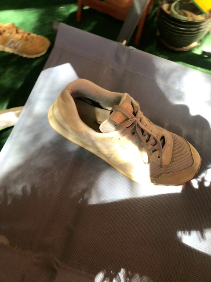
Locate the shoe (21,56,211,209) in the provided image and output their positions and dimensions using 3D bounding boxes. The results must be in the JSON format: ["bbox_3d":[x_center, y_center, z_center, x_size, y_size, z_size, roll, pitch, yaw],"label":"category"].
[{"bbox_3d":[0.031,-0.019,0.386,0.287,0.104,0.125,23,65,14],"label":"shoe"}]
